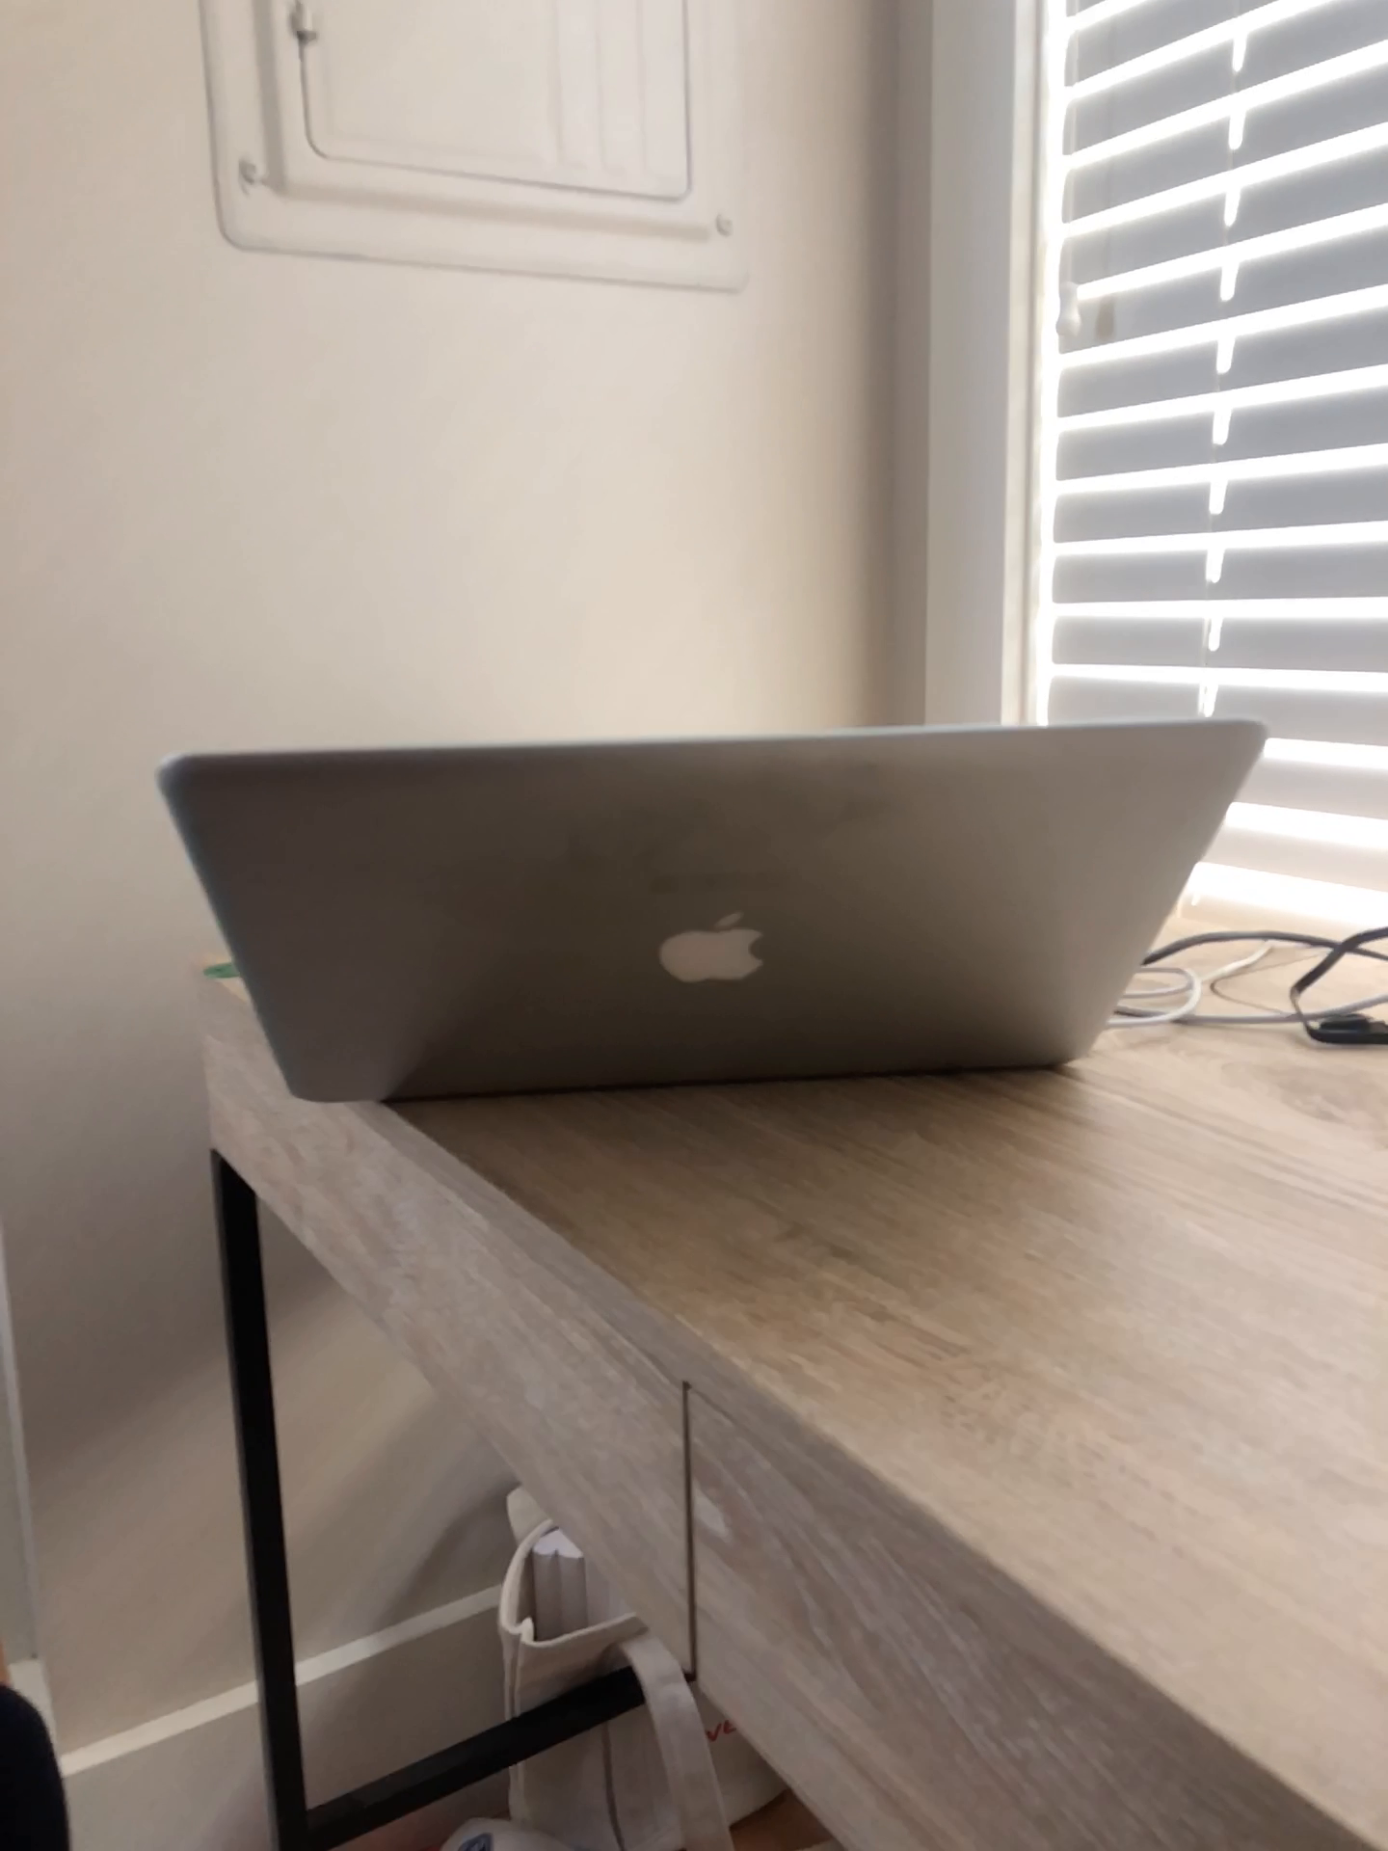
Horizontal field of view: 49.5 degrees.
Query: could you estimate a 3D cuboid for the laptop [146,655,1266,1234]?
[{"bbox_3d":[-0.008,-0.024,0.607,0.319,0.133,0.347,-3,14,-5],"label":"laptop"}]
